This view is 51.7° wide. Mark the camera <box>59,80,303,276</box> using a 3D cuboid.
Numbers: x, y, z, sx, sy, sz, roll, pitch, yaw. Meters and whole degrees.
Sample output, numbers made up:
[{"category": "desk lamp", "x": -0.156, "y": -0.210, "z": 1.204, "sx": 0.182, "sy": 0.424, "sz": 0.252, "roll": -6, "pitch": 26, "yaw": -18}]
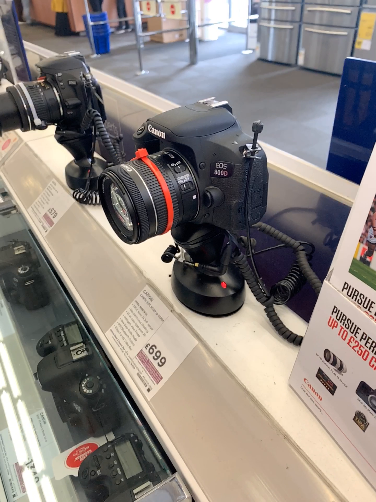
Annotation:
[{"category": "camera", "x": -0.007, "y": -0.077, "z": 0.339, "sx": 0.140, "sy": 0.089, "sz": 0.141, "roll": -27, "pitch": 42, "yaw": -29}]
